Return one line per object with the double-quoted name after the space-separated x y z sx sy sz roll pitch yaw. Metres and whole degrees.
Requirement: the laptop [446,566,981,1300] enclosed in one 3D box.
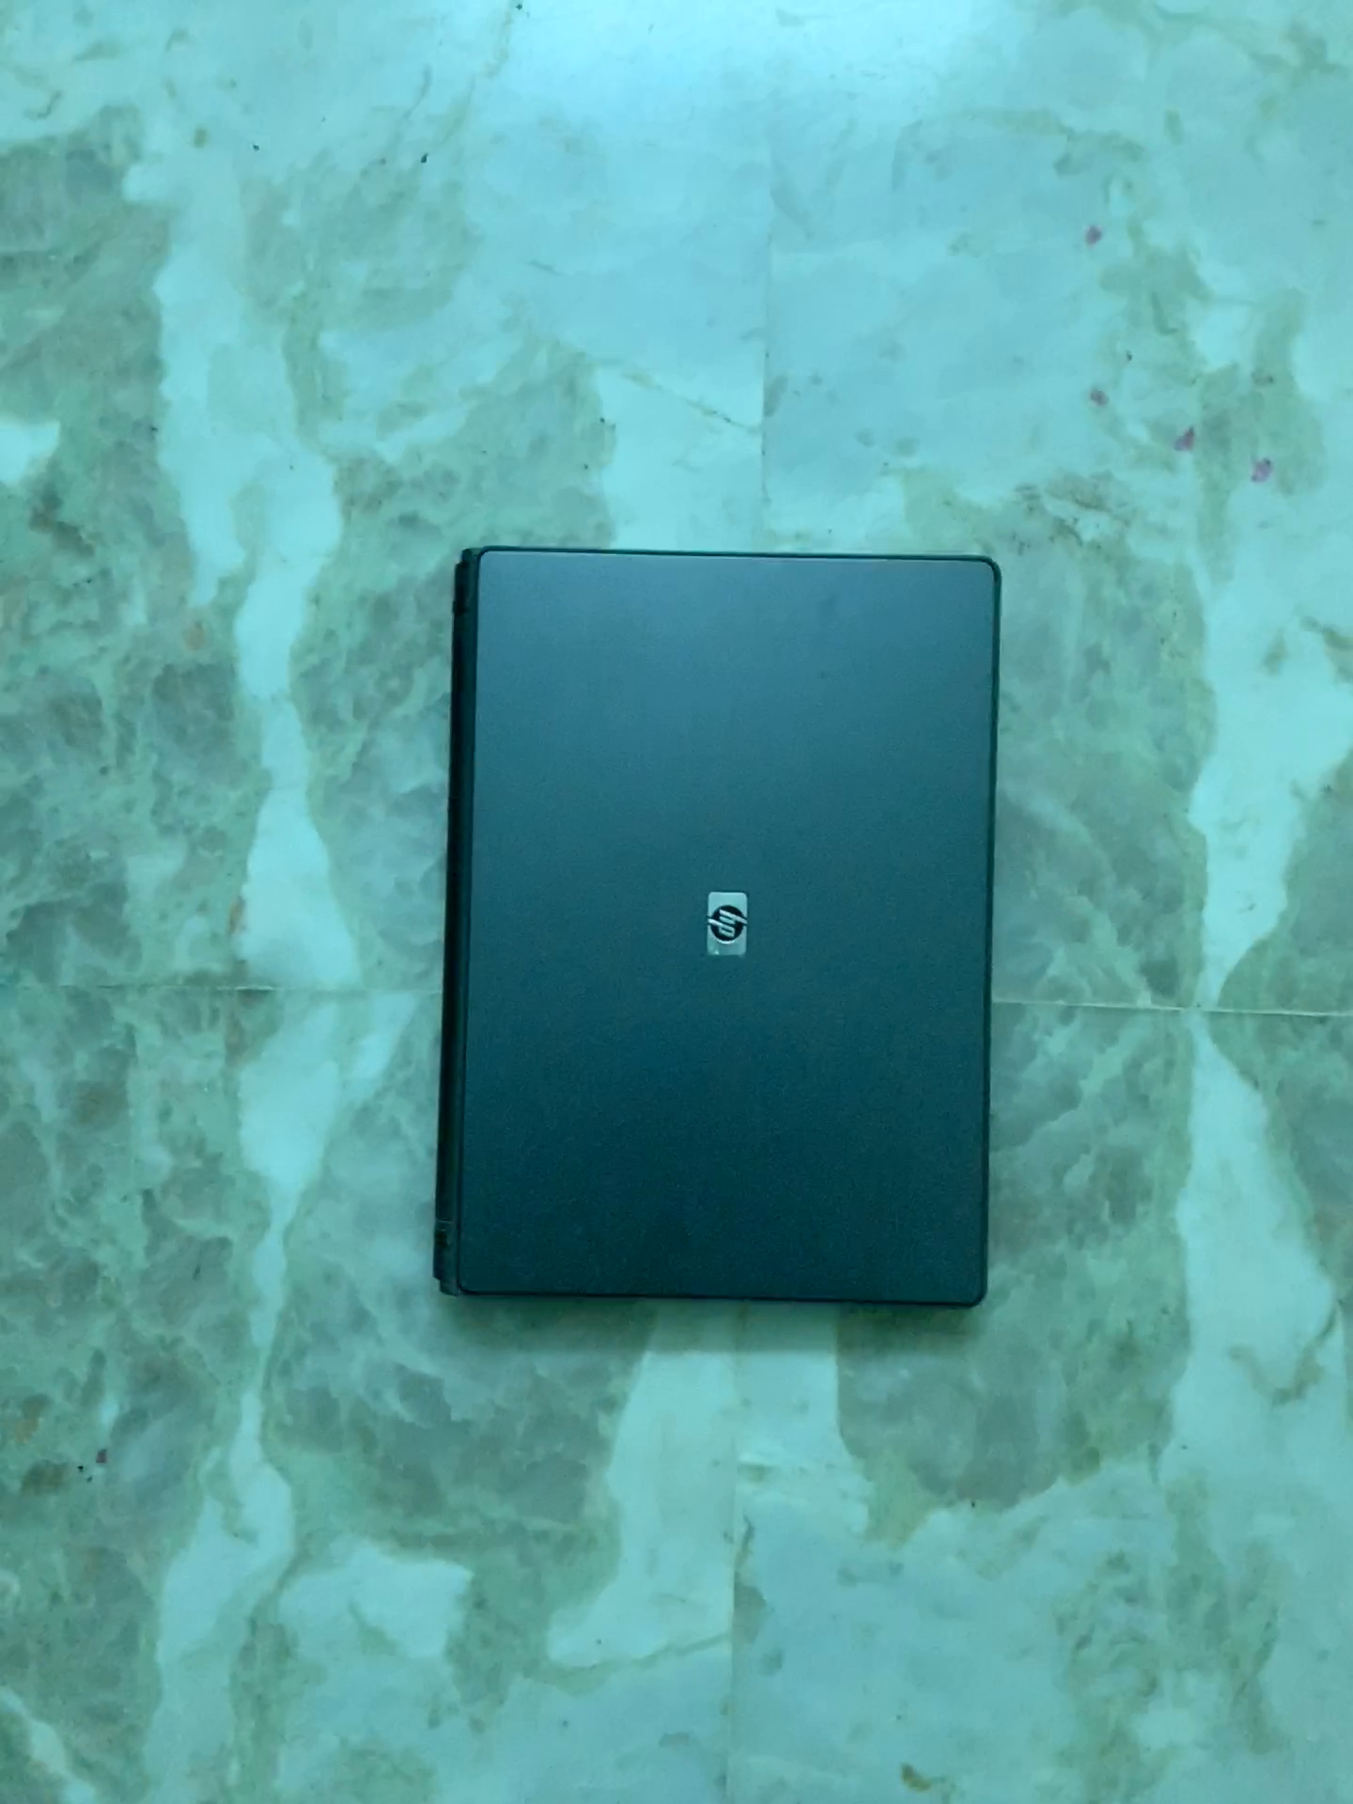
0.016 0.012 0.598 0.226 0.001 0.310 1 89 2 "laptop"
